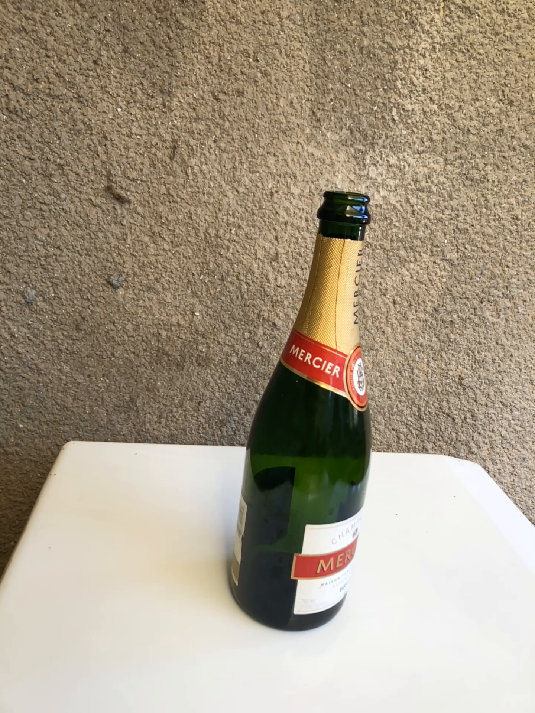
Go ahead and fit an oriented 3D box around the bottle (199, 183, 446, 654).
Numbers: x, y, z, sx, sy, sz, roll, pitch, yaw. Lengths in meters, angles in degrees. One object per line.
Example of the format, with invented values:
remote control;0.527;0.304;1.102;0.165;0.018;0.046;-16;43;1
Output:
bottle;0.032;0.037;0.405;0.090;0.289;0.101;18;21;30
